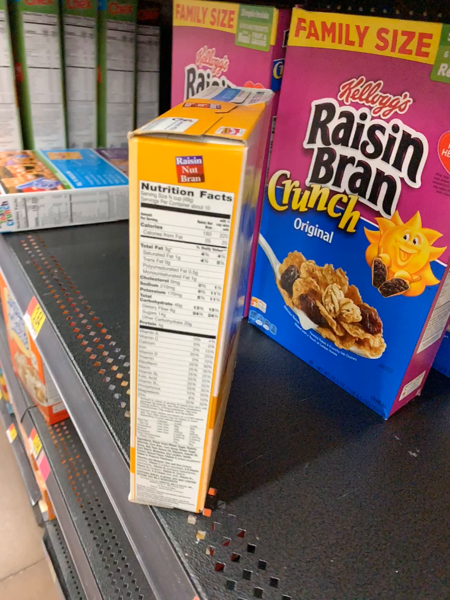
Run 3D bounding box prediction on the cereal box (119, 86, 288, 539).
[{"bbox_3d":[-0.011,-0.001,0.341,0.060,0.259,0.201,10,32,5],"label":"cereal box"}]
